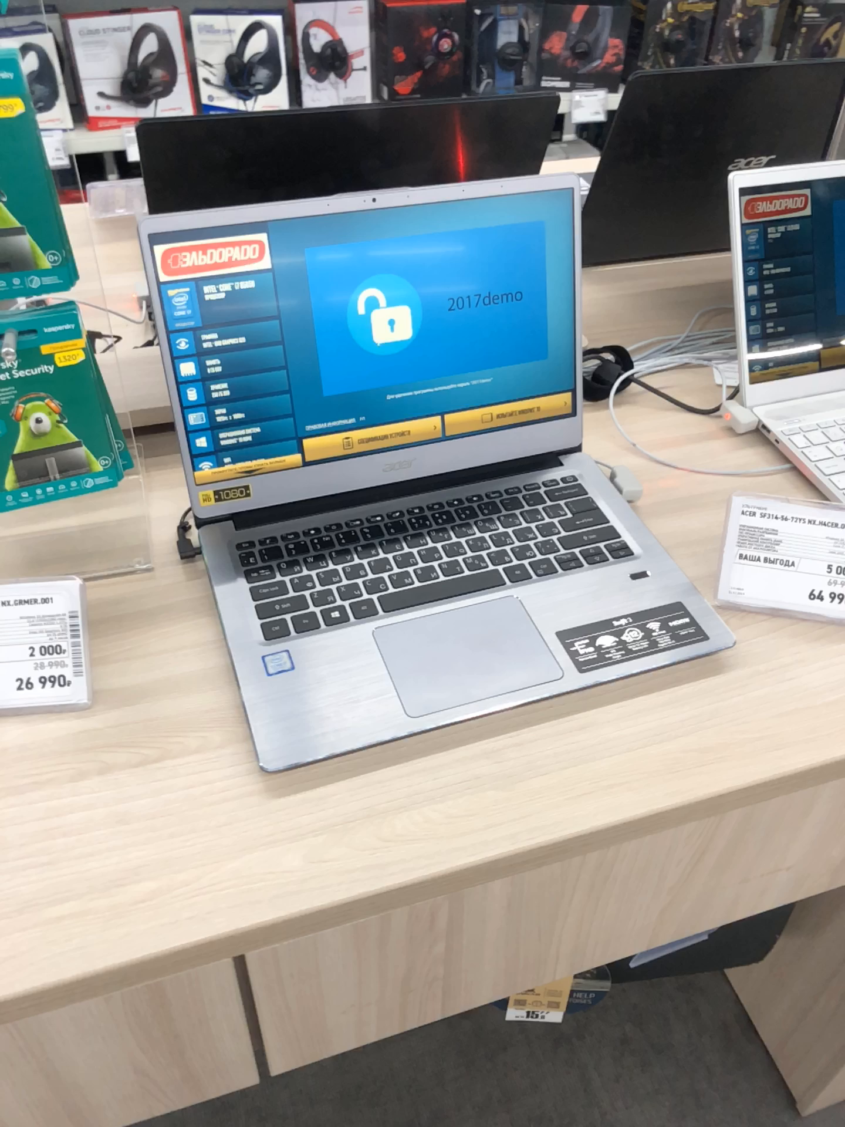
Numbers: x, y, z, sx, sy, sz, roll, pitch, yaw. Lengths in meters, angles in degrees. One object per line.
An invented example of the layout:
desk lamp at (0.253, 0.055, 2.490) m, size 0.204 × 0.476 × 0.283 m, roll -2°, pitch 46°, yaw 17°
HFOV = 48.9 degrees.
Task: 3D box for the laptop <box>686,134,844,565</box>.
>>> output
laptop at (0.454, -0.201, 0.782) m, size 0.305 × 0.164 × 0.323 m, roll -12°, pitch 46°, yaw -15°

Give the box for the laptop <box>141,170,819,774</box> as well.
laptop at (0.010, -0.087, 0.618) m, size 0.315 × 0.197 × 0.303 m, roll -13°, pitch 45°, yaw -16°
